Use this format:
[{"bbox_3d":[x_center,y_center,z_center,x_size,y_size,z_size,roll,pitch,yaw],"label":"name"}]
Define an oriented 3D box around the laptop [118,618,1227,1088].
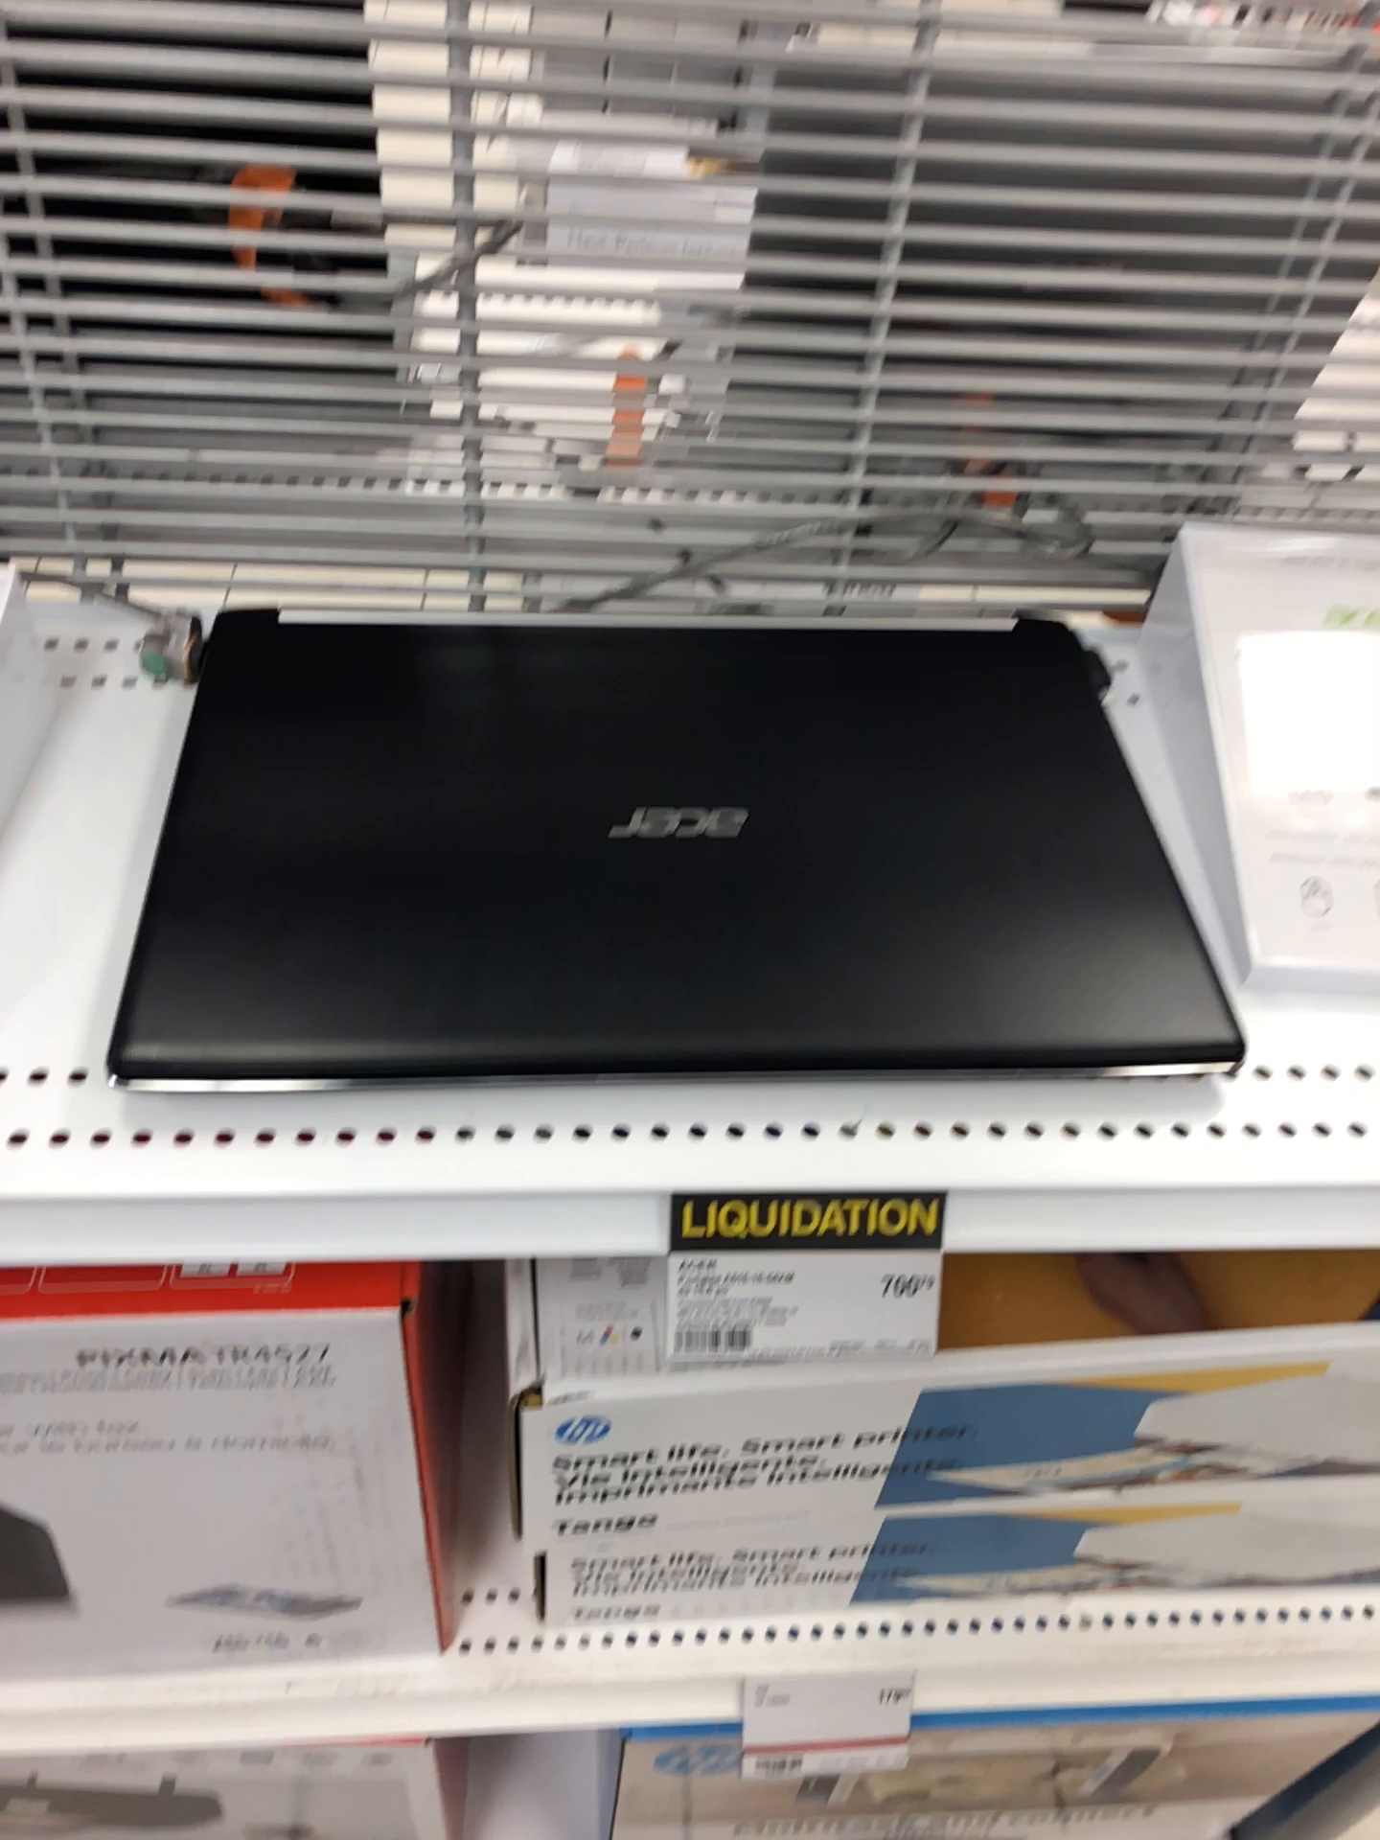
[{"bbox_3d":[-0.005,-0.038,0.571,0.361,0.012,0.228,0,48,-7],"label":"laptop"}]
